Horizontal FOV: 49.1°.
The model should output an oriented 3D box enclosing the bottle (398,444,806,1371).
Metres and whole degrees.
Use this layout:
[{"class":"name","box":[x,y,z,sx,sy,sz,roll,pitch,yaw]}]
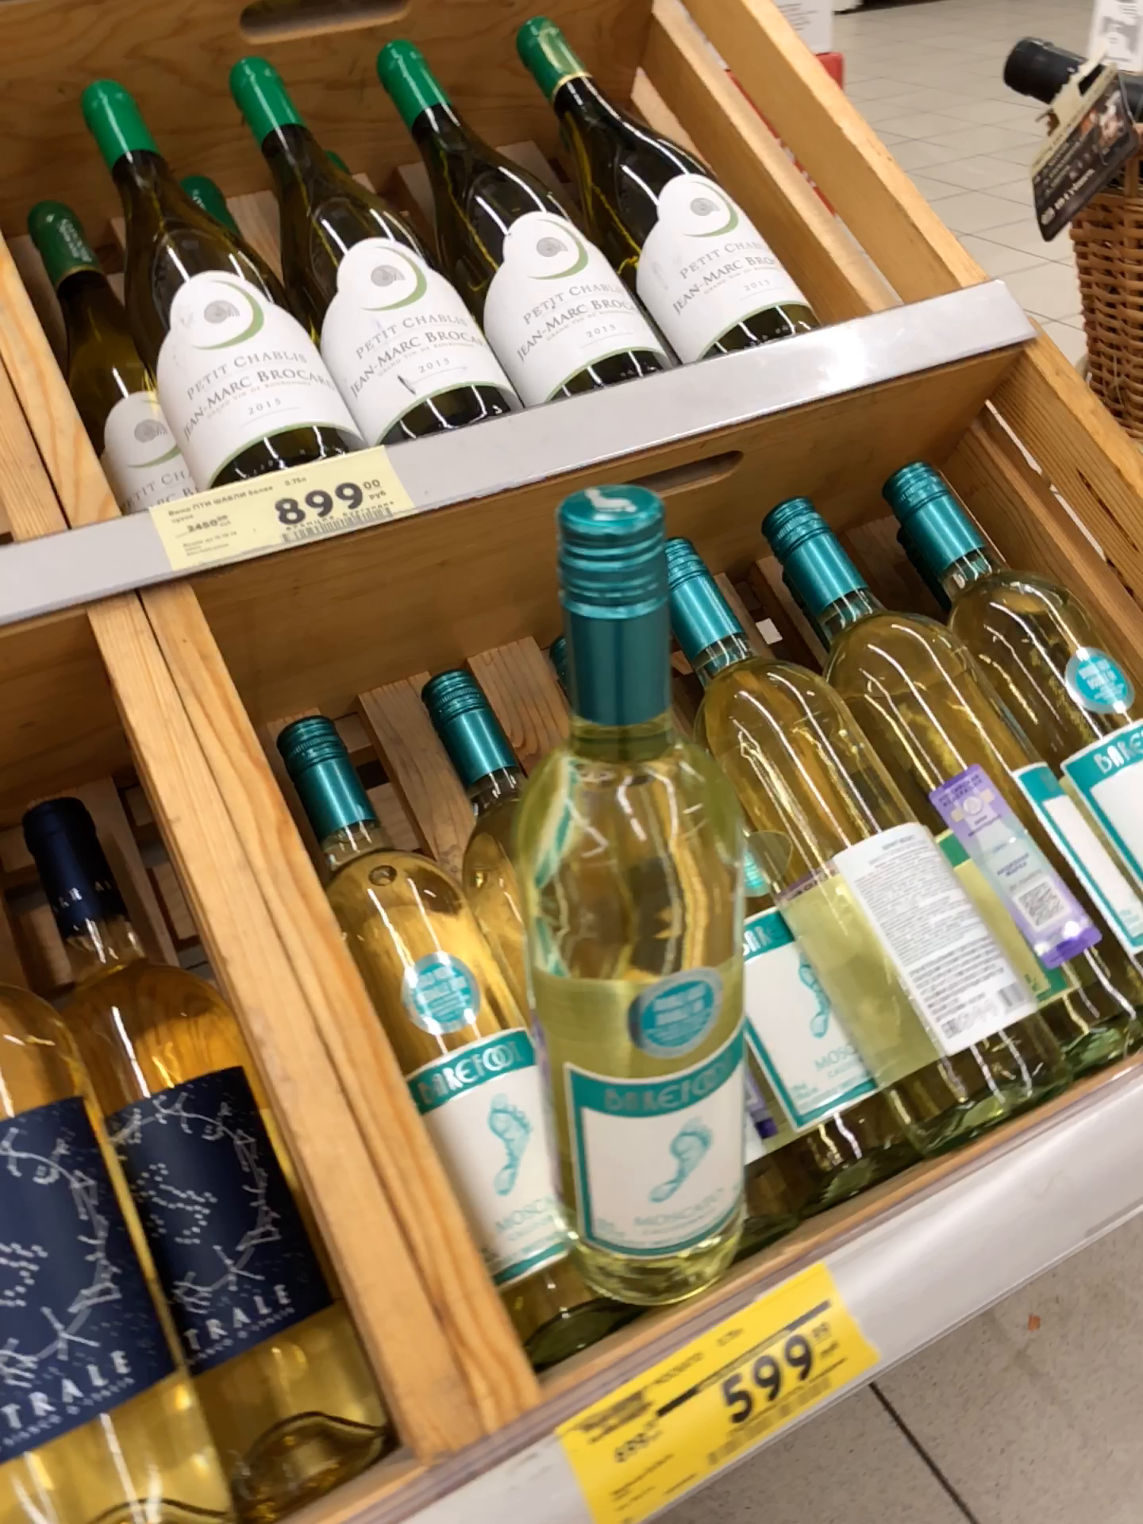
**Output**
[{"class":"bottle","box":[0.016,0.059,0.395,0.080,0.288,0.080,-4,33,3]}]
